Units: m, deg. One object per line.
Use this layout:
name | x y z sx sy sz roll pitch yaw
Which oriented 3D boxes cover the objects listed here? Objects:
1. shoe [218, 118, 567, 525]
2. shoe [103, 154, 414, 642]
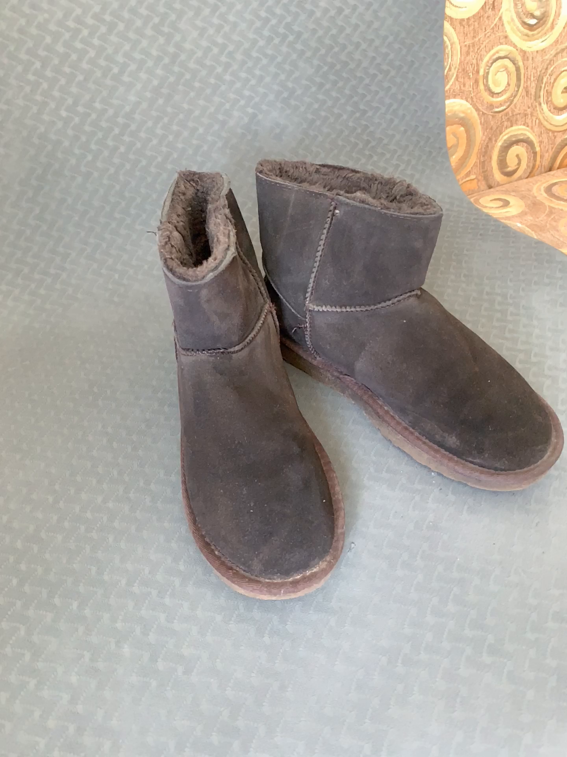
shoe | 0.084 -0.049 0.391 0.254 0.139 0.100 36 59 28
shoe | -0.031 -0.004 0.358 0.100 0.139 0.254 -13 50 -10
